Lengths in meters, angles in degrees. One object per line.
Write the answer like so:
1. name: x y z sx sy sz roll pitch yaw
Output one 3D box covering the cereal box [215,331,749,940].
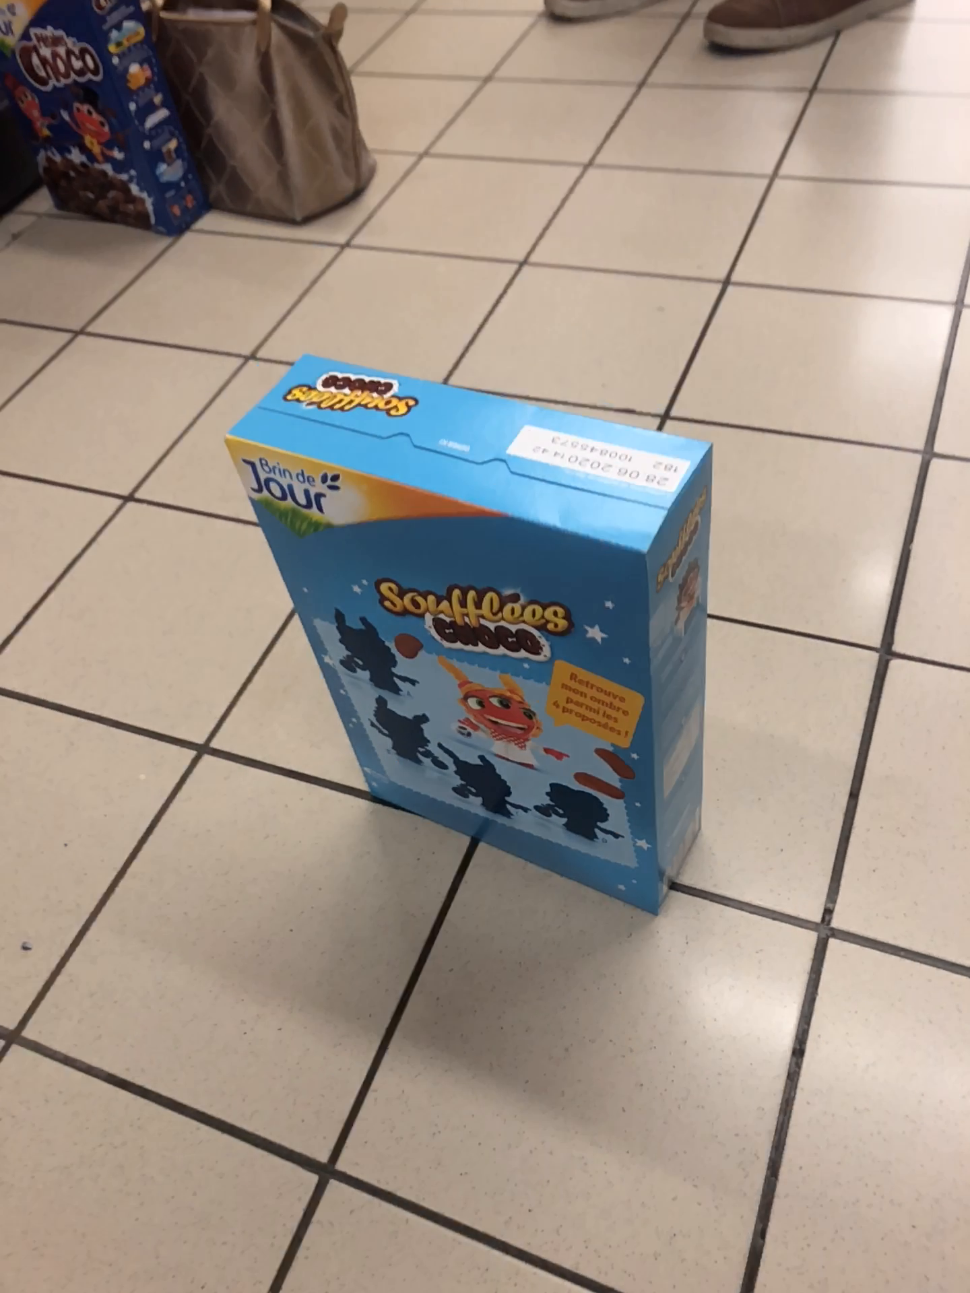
1. cereal box: 0.013 0.008 0.531 0.200 0.288 0.081 18 54 23
